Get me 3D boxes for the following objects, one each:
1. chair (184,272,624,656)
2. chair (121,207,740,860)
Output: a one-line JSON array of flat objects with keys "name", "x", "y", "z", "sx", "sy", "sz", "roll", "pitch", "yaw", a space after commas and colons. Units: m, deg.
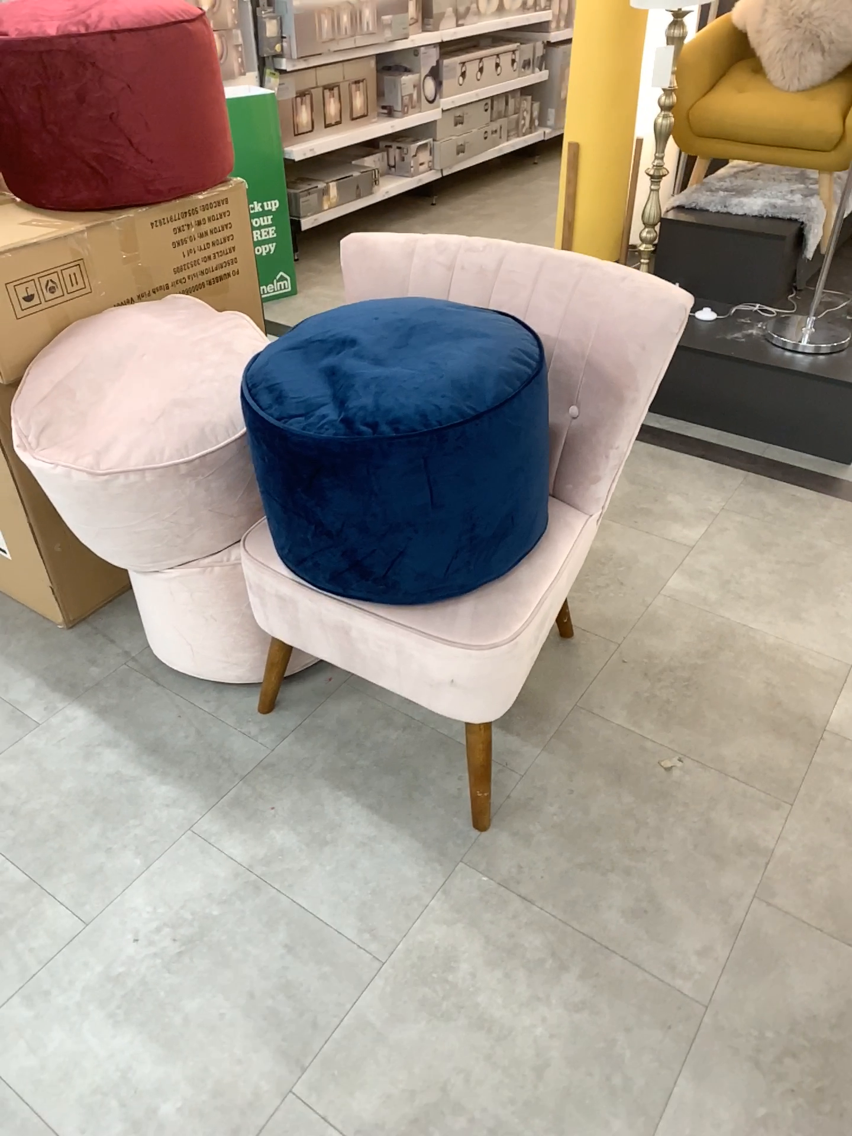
[{"name": "chair", "x": -0.019, "y": -0.213, "z": 1.455, "sx": 0.496, "sy": 0.340, "sz": 0.496, "roll": 21, "pitch": 42, "yaw": 27}, {"name": "chair", "x": 0.043, "y": -0.128, "z": 1.601, "sx": 0.692, "sy": 0.772, "sz": 0.735, "roll": 21, "pitch": 42, "yaw": 27}]
